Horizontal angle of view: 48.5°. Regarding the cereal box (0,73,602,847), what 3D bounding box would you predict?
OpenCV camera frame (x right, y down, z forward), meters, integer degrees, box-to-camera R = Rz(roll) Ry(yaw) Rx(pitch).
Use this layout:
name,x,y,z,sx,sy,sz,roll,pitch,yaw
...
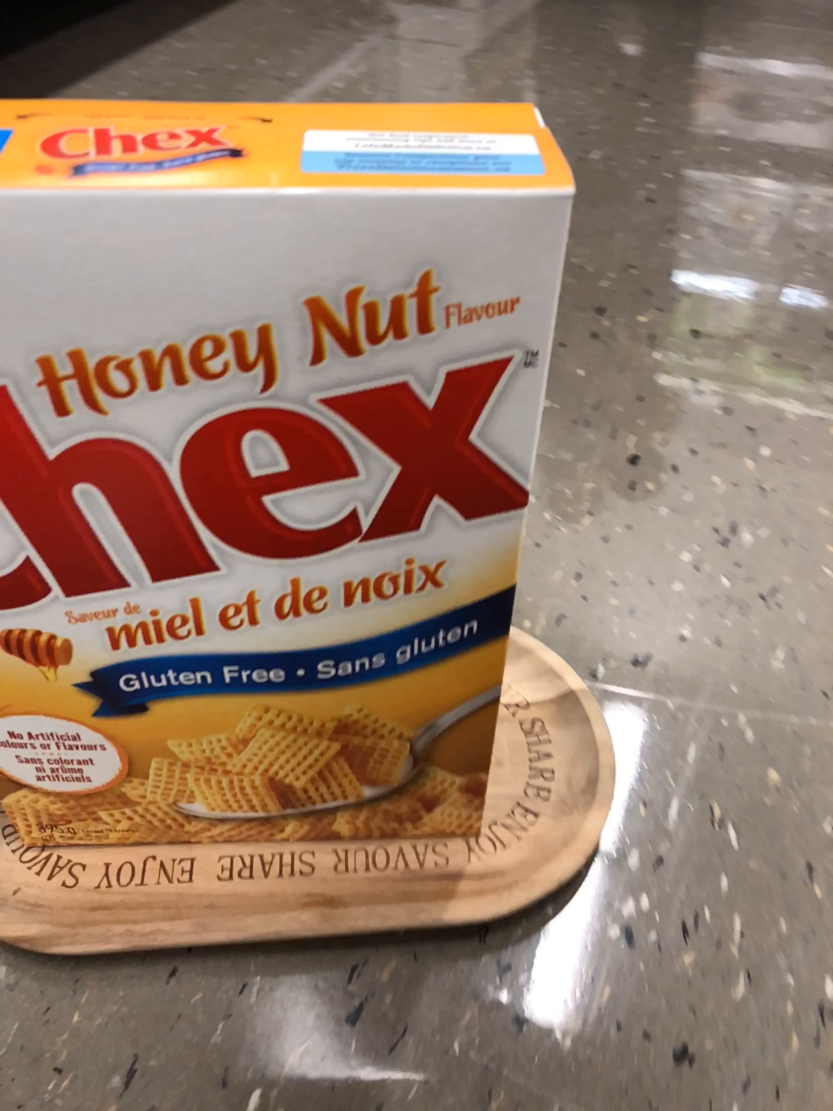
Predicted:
name,x,y,z,sx,sy,sz,roll,pitch,yaw
cereal box,-0.069,-0.002,0.313,0.210,0.279,0.060,-1,44,-2
